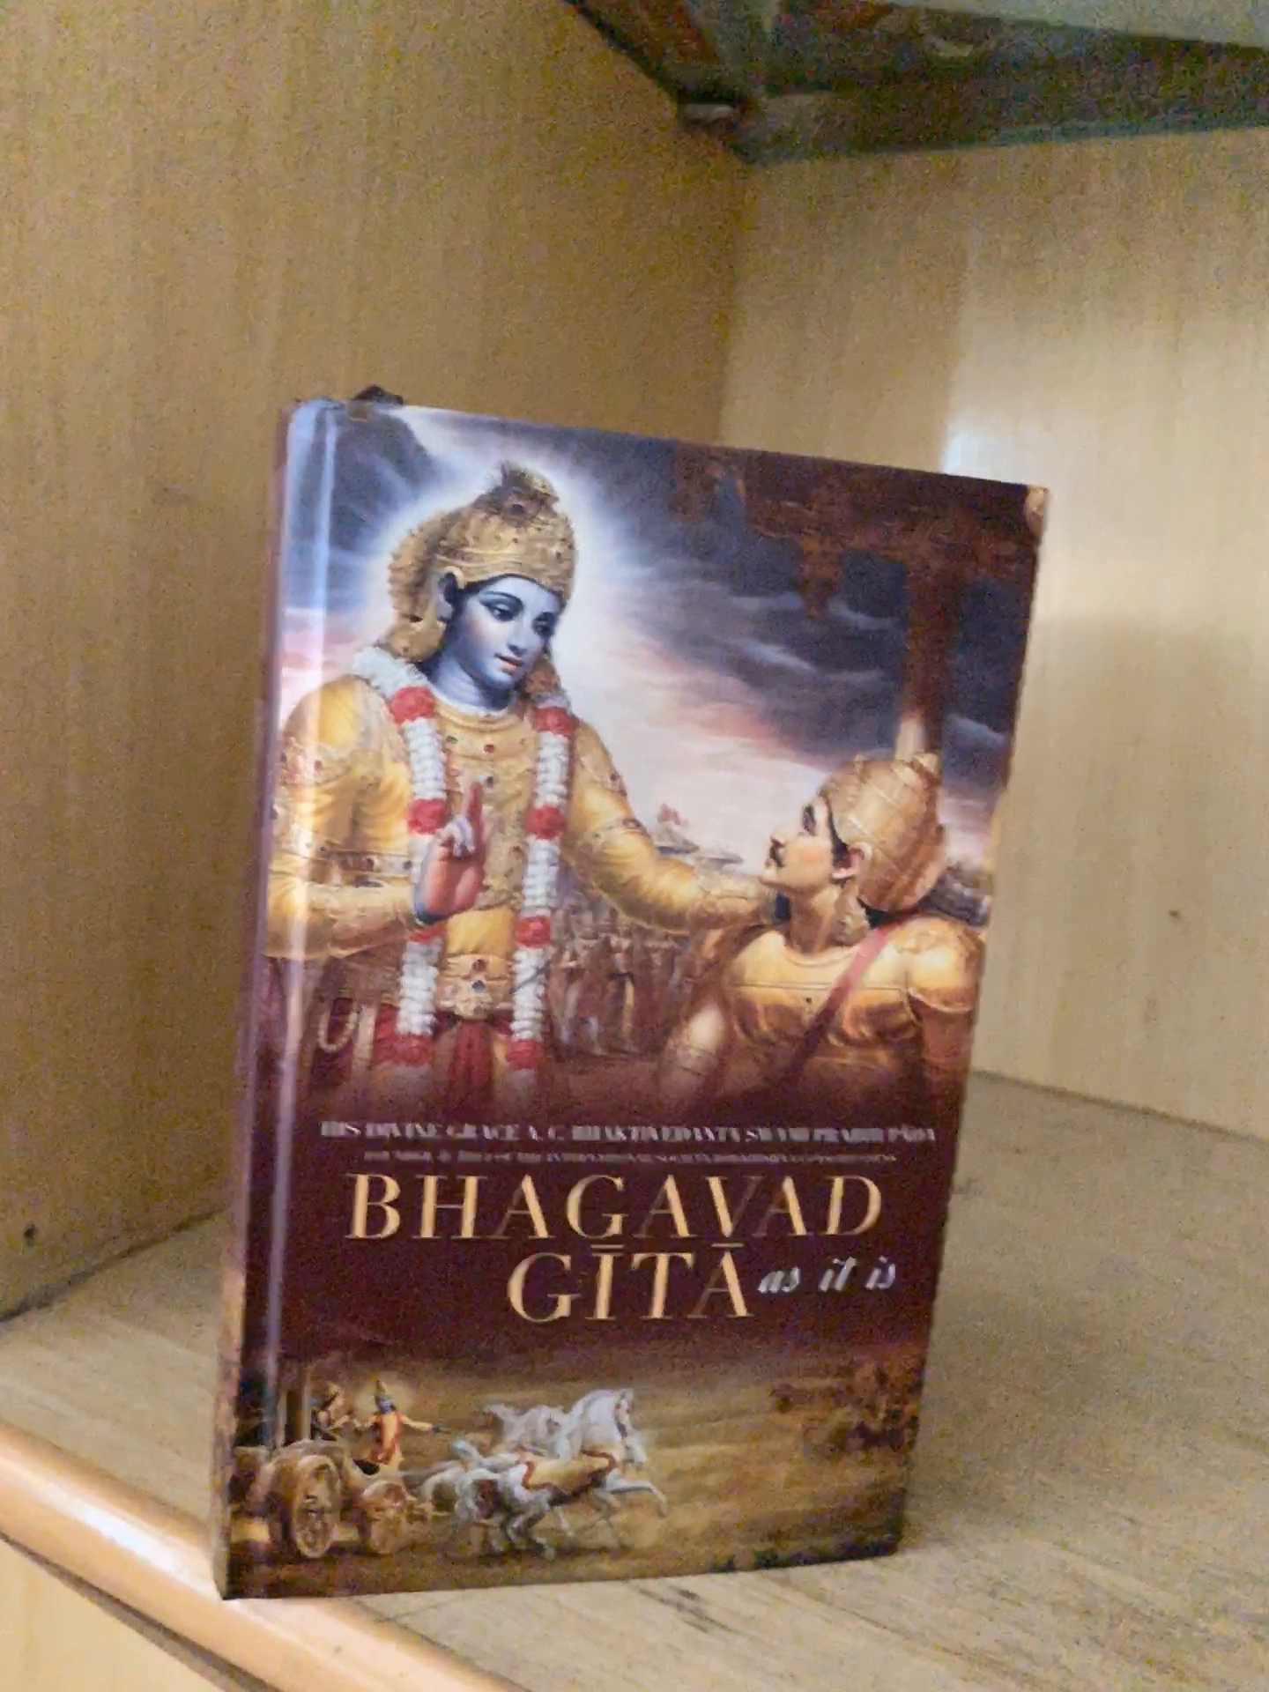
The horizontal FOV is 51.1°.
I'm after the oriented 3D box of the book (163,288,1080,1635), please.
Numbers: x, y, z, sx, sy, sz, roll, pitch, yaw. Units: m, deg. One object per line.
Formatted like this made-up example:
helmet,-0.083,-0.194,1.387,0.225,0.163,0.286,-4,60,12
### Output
book,-0.009,0.024,0.260,0.140,0.219,0.070,4,7,-12
